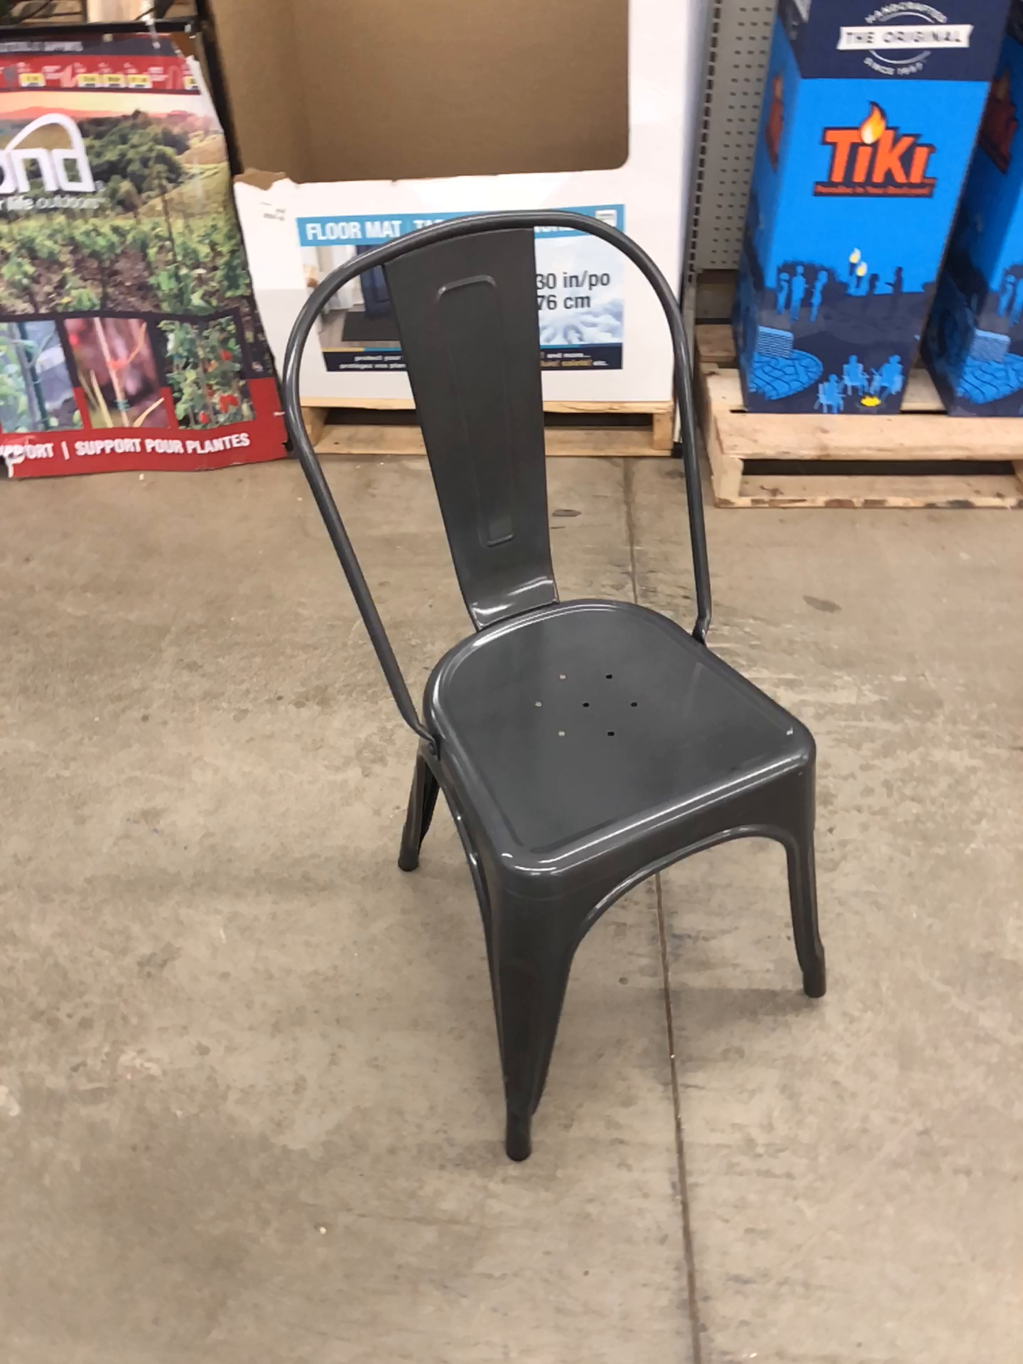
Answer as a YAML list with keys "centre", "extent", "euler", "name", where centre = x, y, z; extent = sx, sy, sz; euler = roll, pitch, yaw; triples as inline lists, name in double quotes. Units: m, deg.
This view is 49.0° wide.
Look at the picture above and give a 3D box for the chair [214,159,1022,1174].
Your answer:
- centre: [0.079, -0.001, 1.171]
  extent: [0.480, 0.817, 0.502]
  euler: [-21, 47, -20]
  name: "chair"
